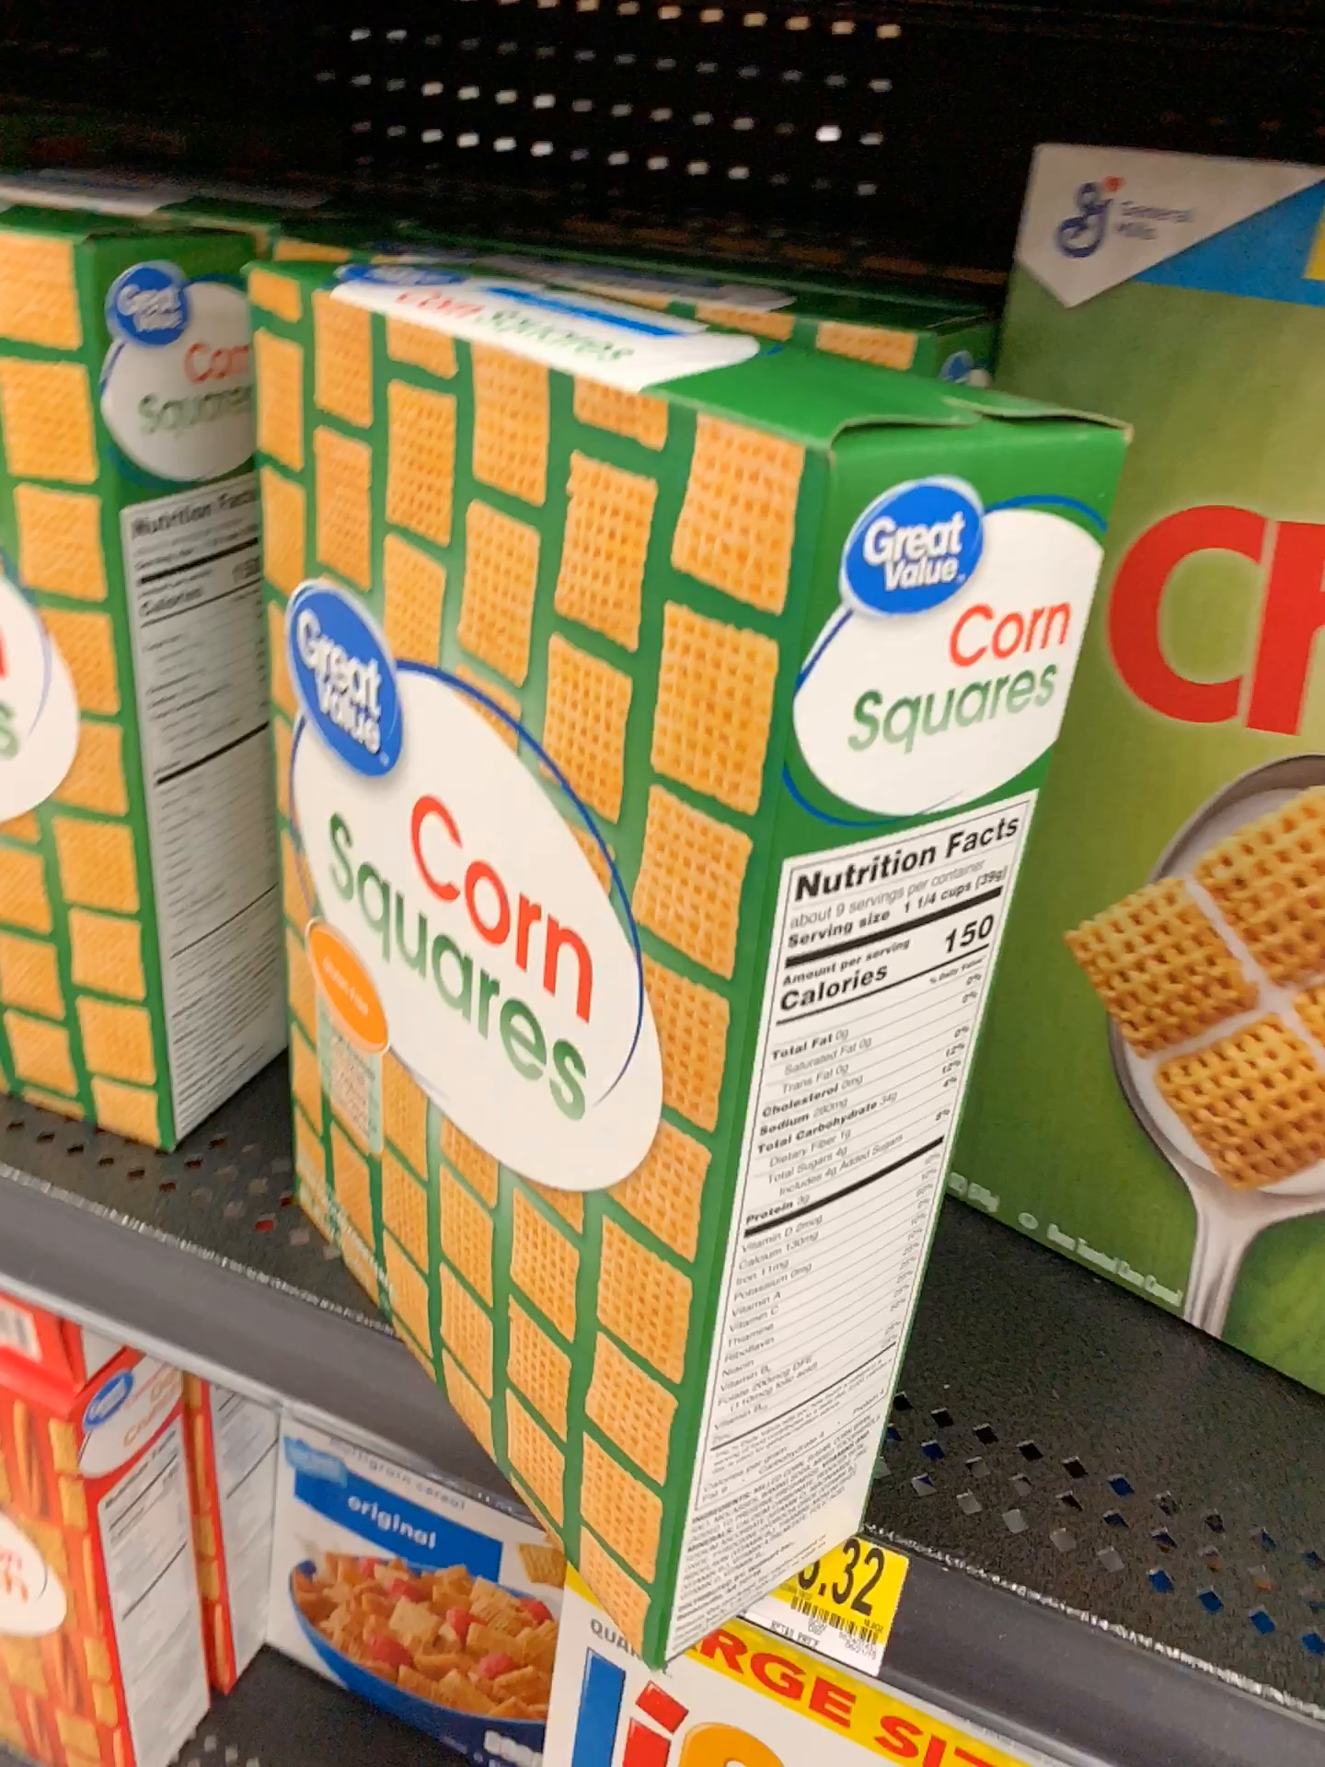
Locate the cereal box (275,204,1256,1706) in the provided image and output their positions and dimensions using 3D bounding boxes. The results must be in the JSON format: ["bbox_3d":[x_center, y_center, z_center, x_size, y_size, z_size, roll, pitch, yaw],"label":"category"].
[{"bbox_3d":[-0.011,0.011,0.329,0.070,0.288,0.201,-17,37,-35],"label":"cereal box"}]
